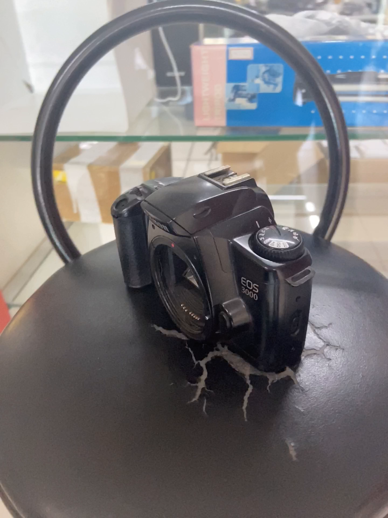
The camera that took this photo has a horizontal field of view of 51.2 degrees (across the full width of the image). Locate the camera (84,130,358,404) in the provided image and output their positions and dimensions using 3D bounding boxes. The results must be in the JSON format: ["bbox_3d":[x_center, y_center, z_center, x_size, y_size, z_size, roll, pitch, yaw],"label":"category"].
[{"bbox_3d":[0.005,-0.010,0.235,0.070,0.089,0.141,-24,37,-29],"label":"camera"}]
